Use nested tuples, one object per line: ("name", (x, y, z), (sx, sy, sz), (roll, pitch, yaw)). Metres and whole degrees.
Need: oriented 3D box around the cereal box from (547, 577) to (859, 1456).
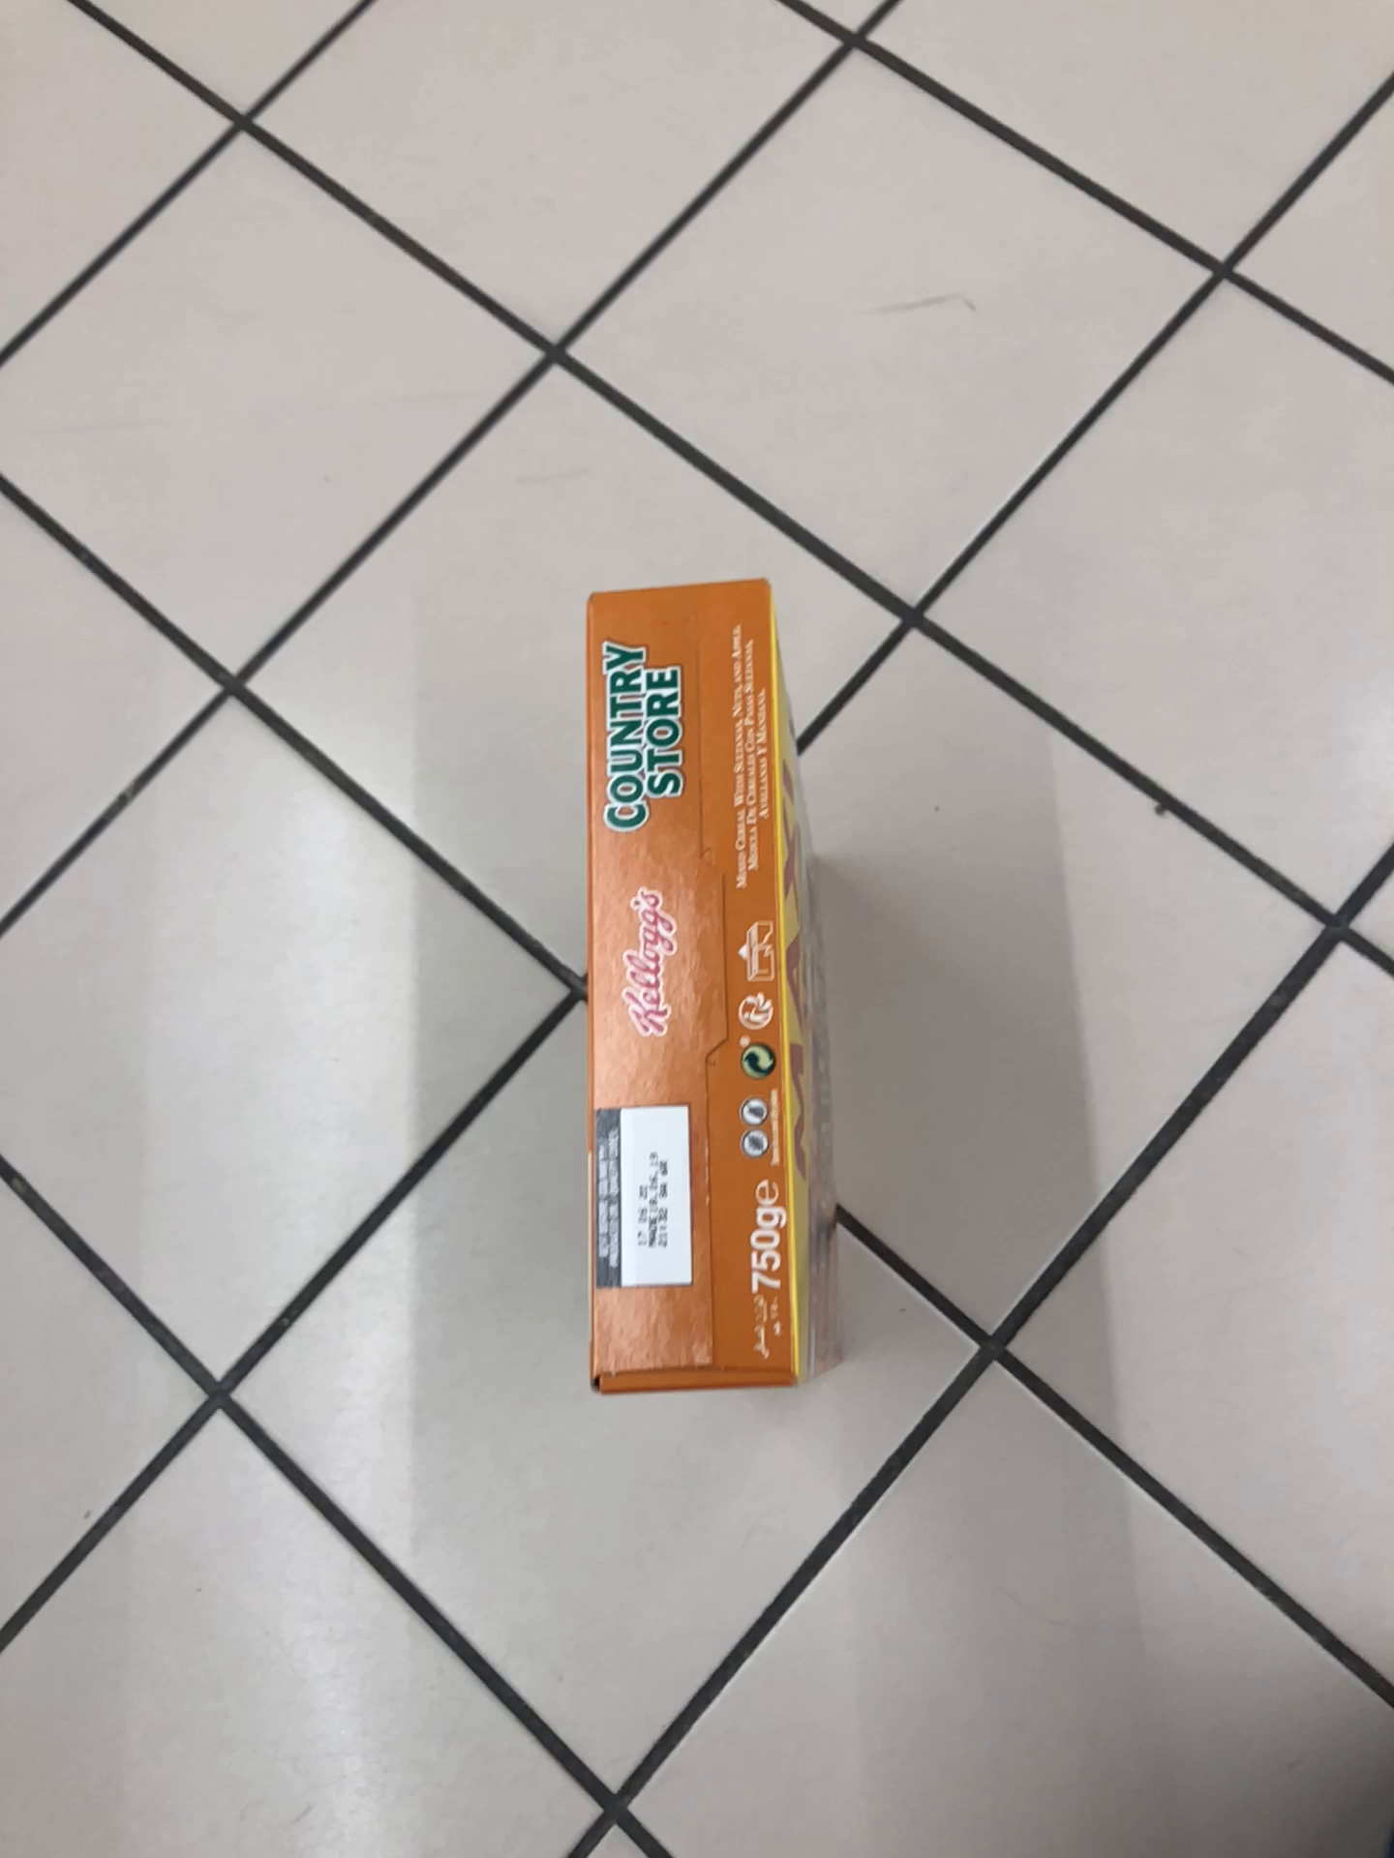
("cereal box", (0.011, 0.043, 0.466), (0.060, 0.240, 0.200), (-4, 75, 5))
